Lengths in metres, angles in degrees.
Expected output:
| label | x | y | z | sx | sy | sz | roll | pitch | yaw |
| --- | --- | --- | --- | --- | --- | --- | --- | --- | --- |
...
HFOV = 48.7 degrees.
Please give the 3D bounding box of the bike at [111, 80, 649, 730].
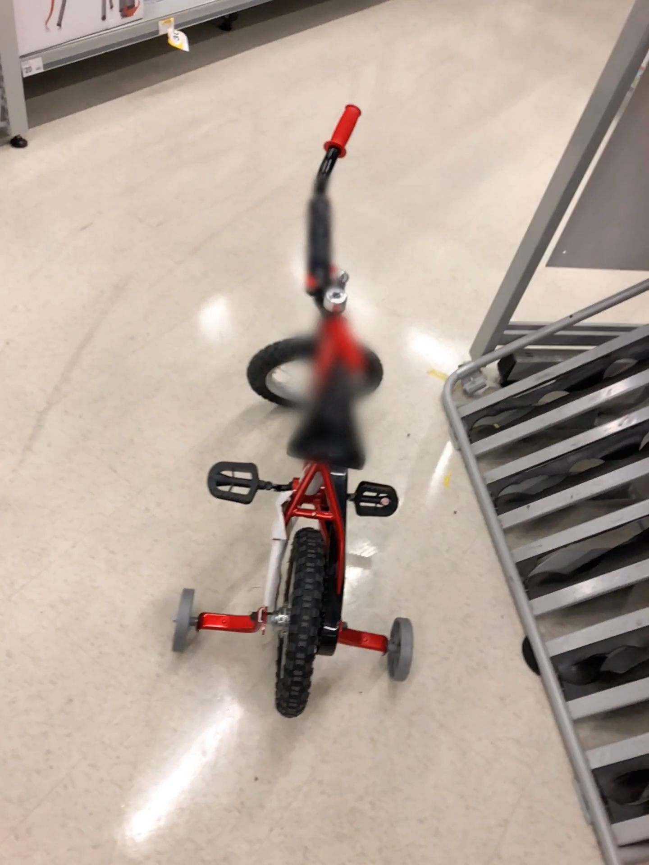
| label | x | y | z | sx | sy | sz | roll | pitch | yaw |
| --- | --- | --- | --- | --- | --- | --- | --- | --- | --- |
| bike | -0.038 | -0.010 | 1.136 | 0.531 | 0.678 | 0.702 | 1 | 50 | -13 |
